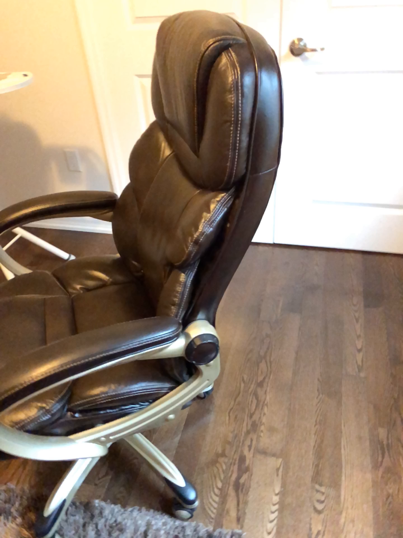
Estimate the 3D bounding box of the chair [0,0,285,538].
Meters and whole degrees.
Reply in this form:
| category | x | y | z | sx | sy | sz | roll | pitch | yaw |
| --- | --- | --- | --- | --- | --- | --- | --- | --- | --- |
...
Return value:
| category | x | y | z | sx | sy | sz | roll | pitch | yaw |
| --- | --- | --- | --- | --- | --- | --- | --- | --- | --- |
| chair | -0.316 | 0.052 | 1.075 | 0.740 | 1.135 | 0.733 | -12 | 37 | -10 |
